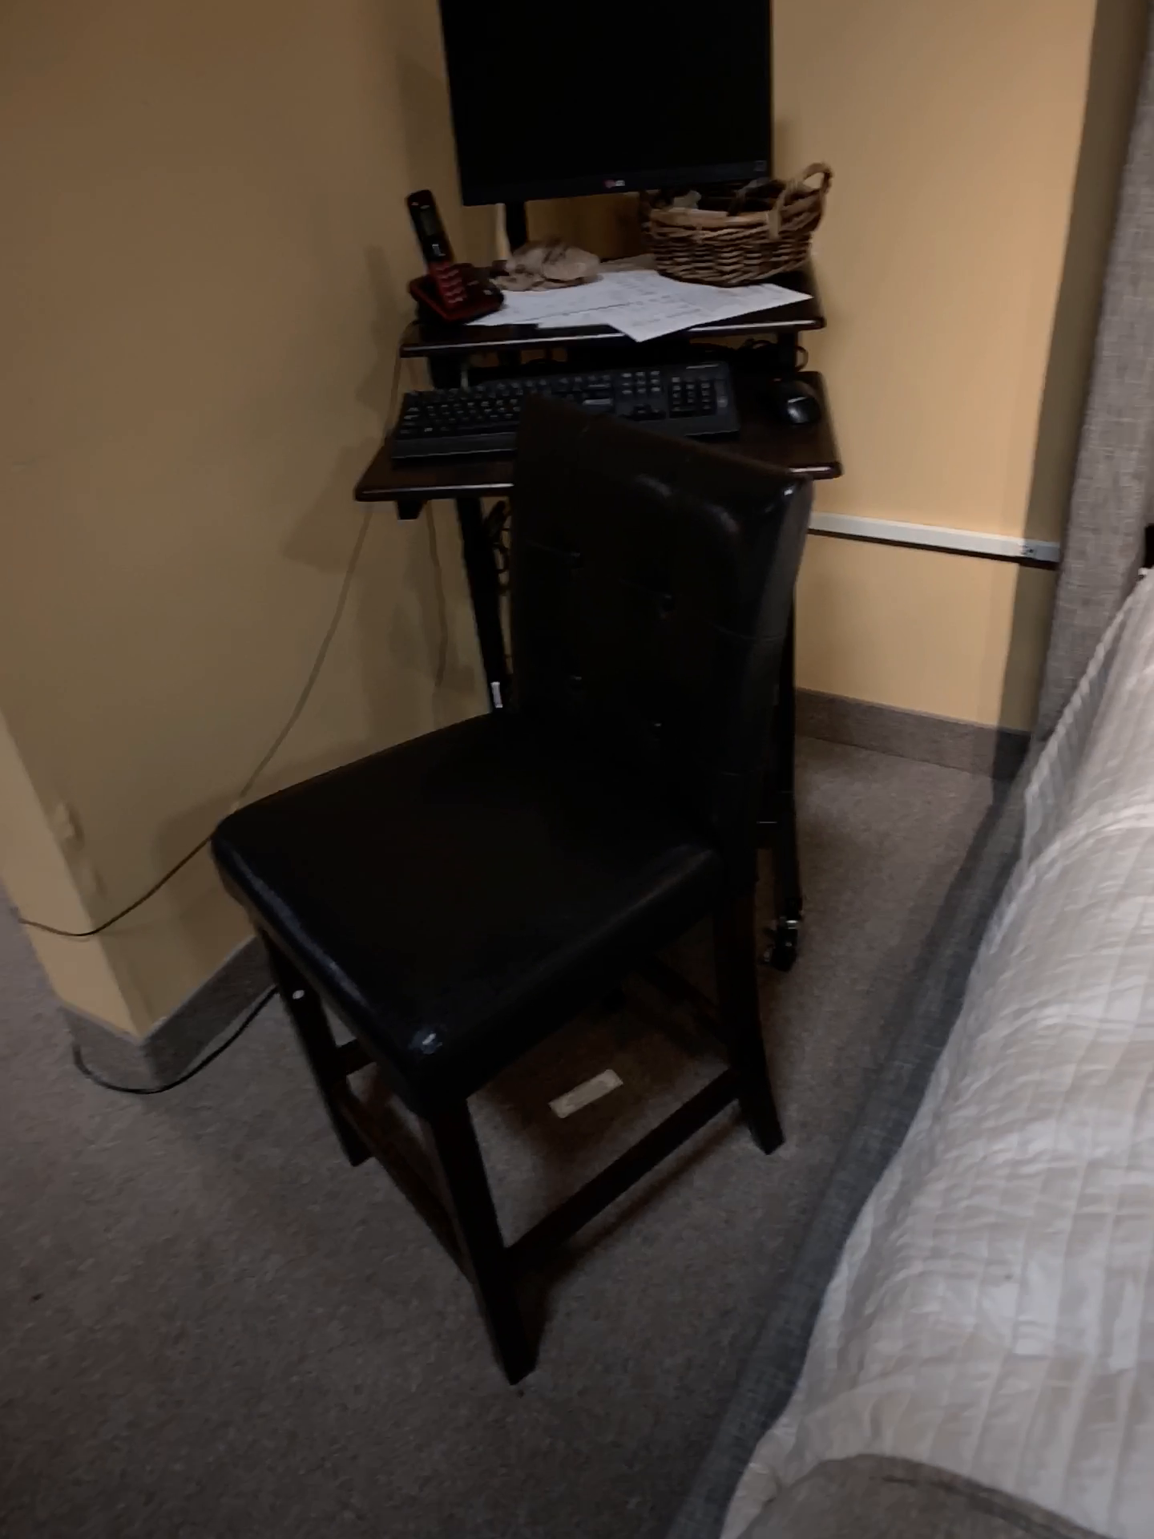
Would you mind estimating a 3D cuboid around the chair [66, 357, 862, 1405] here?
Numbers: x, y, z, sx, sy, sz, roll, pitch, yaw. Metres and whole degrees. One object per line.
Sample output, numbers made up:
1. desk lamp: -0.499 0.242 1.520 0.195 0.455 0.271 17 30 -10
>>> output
1. chair: -0.089 0.105 1.338 0.518 0.912 0.561 -27 40 -27
